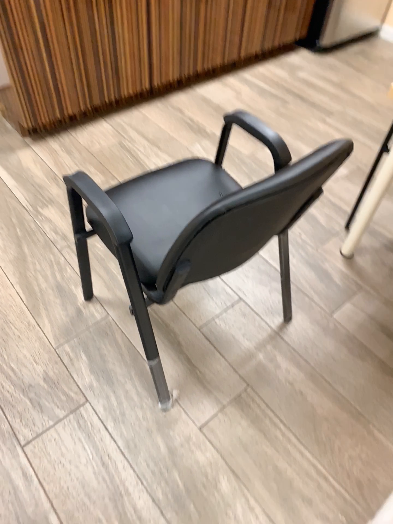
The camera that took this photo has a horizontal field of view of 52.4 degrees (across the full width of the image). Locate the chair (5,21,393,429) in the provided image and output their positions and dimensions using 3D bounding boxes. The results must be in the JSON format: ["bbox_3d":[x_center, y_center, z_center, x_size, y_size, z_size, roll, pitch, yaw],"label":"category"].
[{"bbox_3d":[-0.007,-0.093,1.153,0.607,0.796,0.625,-30,59,-26],"label":"chair"}]
